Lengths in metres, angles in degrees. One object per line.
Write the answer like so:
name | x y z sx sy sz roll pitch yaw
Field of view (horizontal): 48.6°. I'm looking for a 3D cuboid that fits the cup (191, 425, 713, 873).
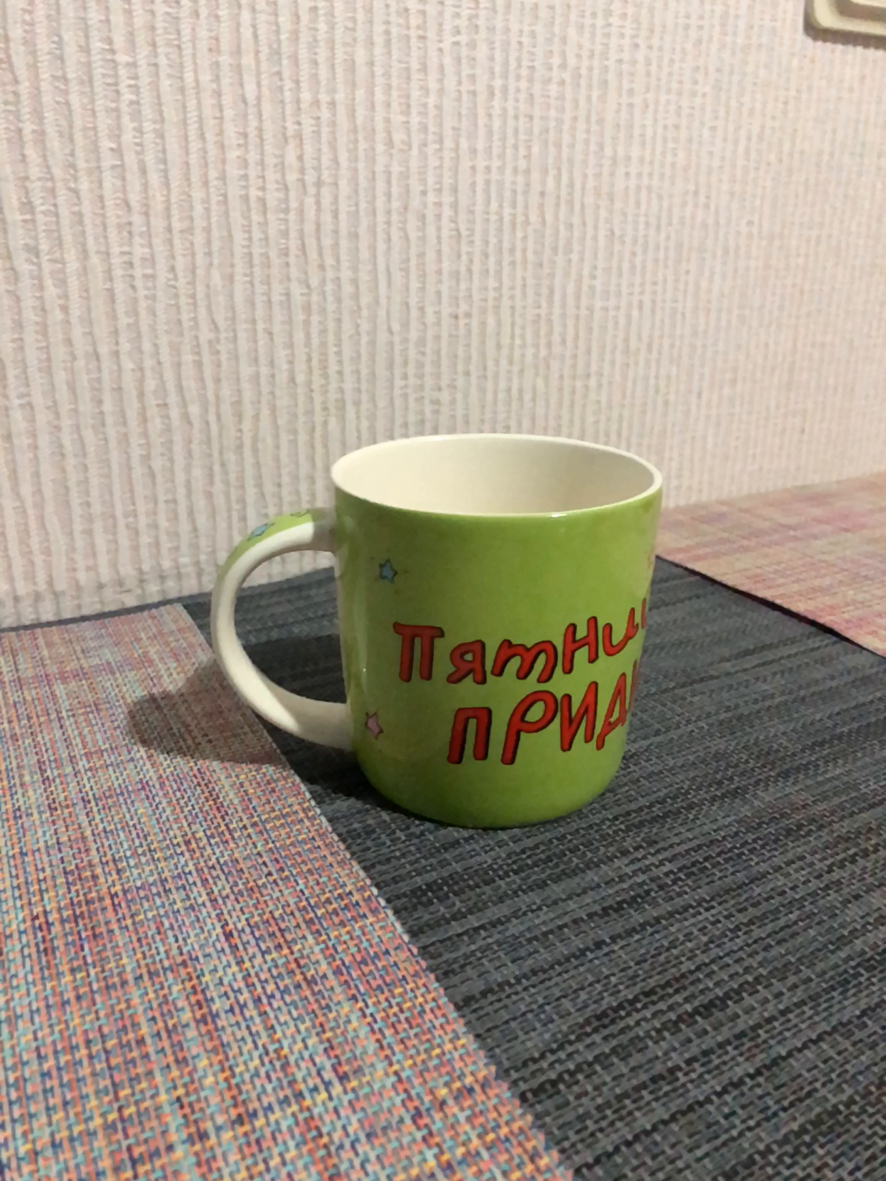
cup | -0.004 0.007 0.266 0.115 0.084 0.090 -4 21 -11
